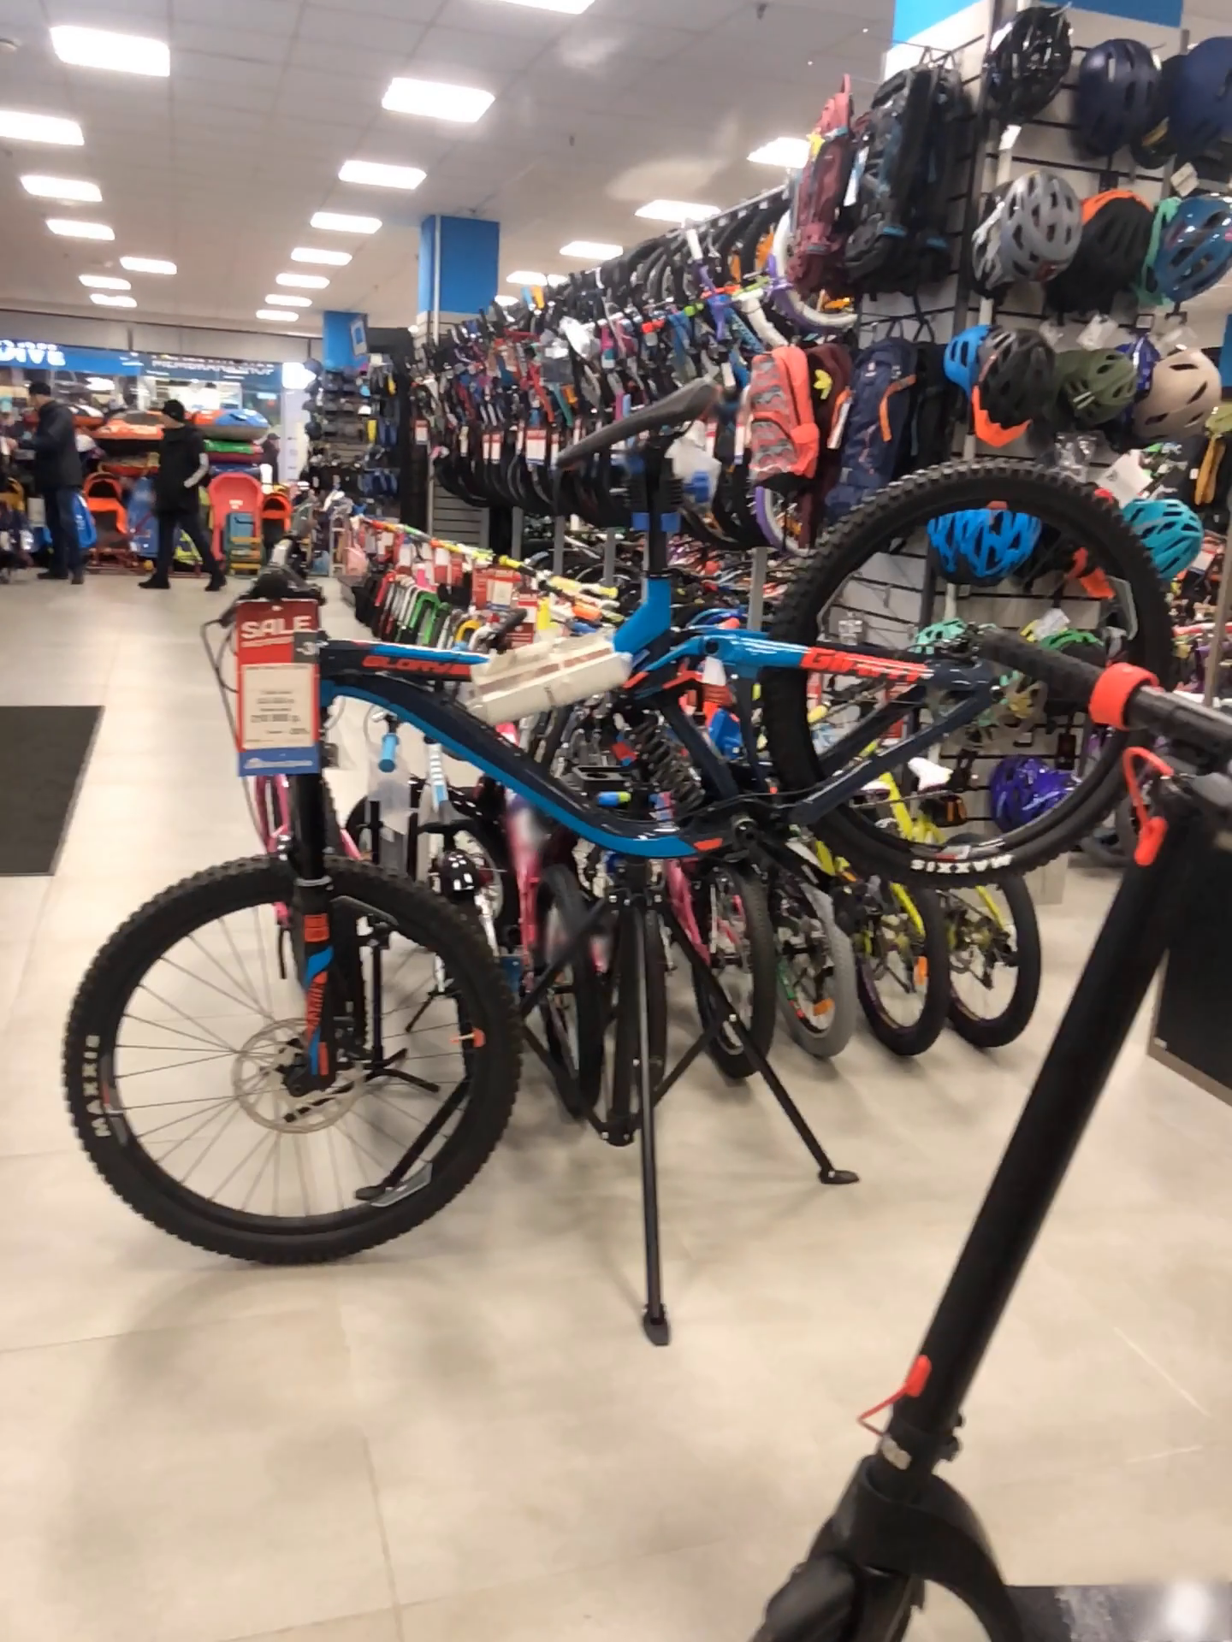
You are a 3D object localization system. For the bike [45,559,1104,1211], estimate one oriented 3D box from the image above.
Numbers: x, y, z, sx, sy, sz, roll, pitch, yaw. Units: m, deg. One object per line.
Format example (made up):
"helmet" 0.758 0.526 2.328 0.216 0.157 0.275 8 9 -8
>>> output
"bike" -0.121 0.028 2.095 1.521 0.182 0.661 -24 17 -1
